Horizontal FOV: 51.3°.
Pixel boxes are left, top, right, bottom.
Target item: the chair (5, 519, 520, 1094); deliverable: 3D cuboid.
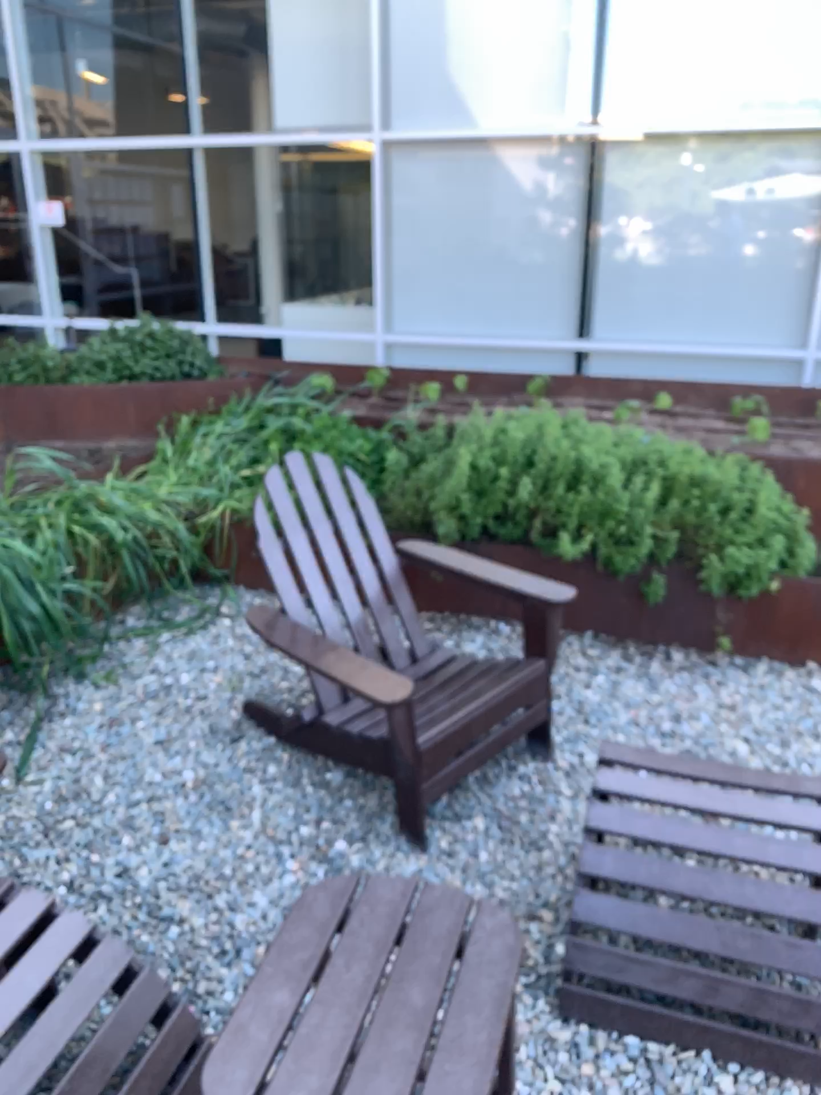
[{"bbox_3d":[-0.427,0.619,2.392,1.001,0.995,1.004,-13,24,-31],"label":"chair"}]
